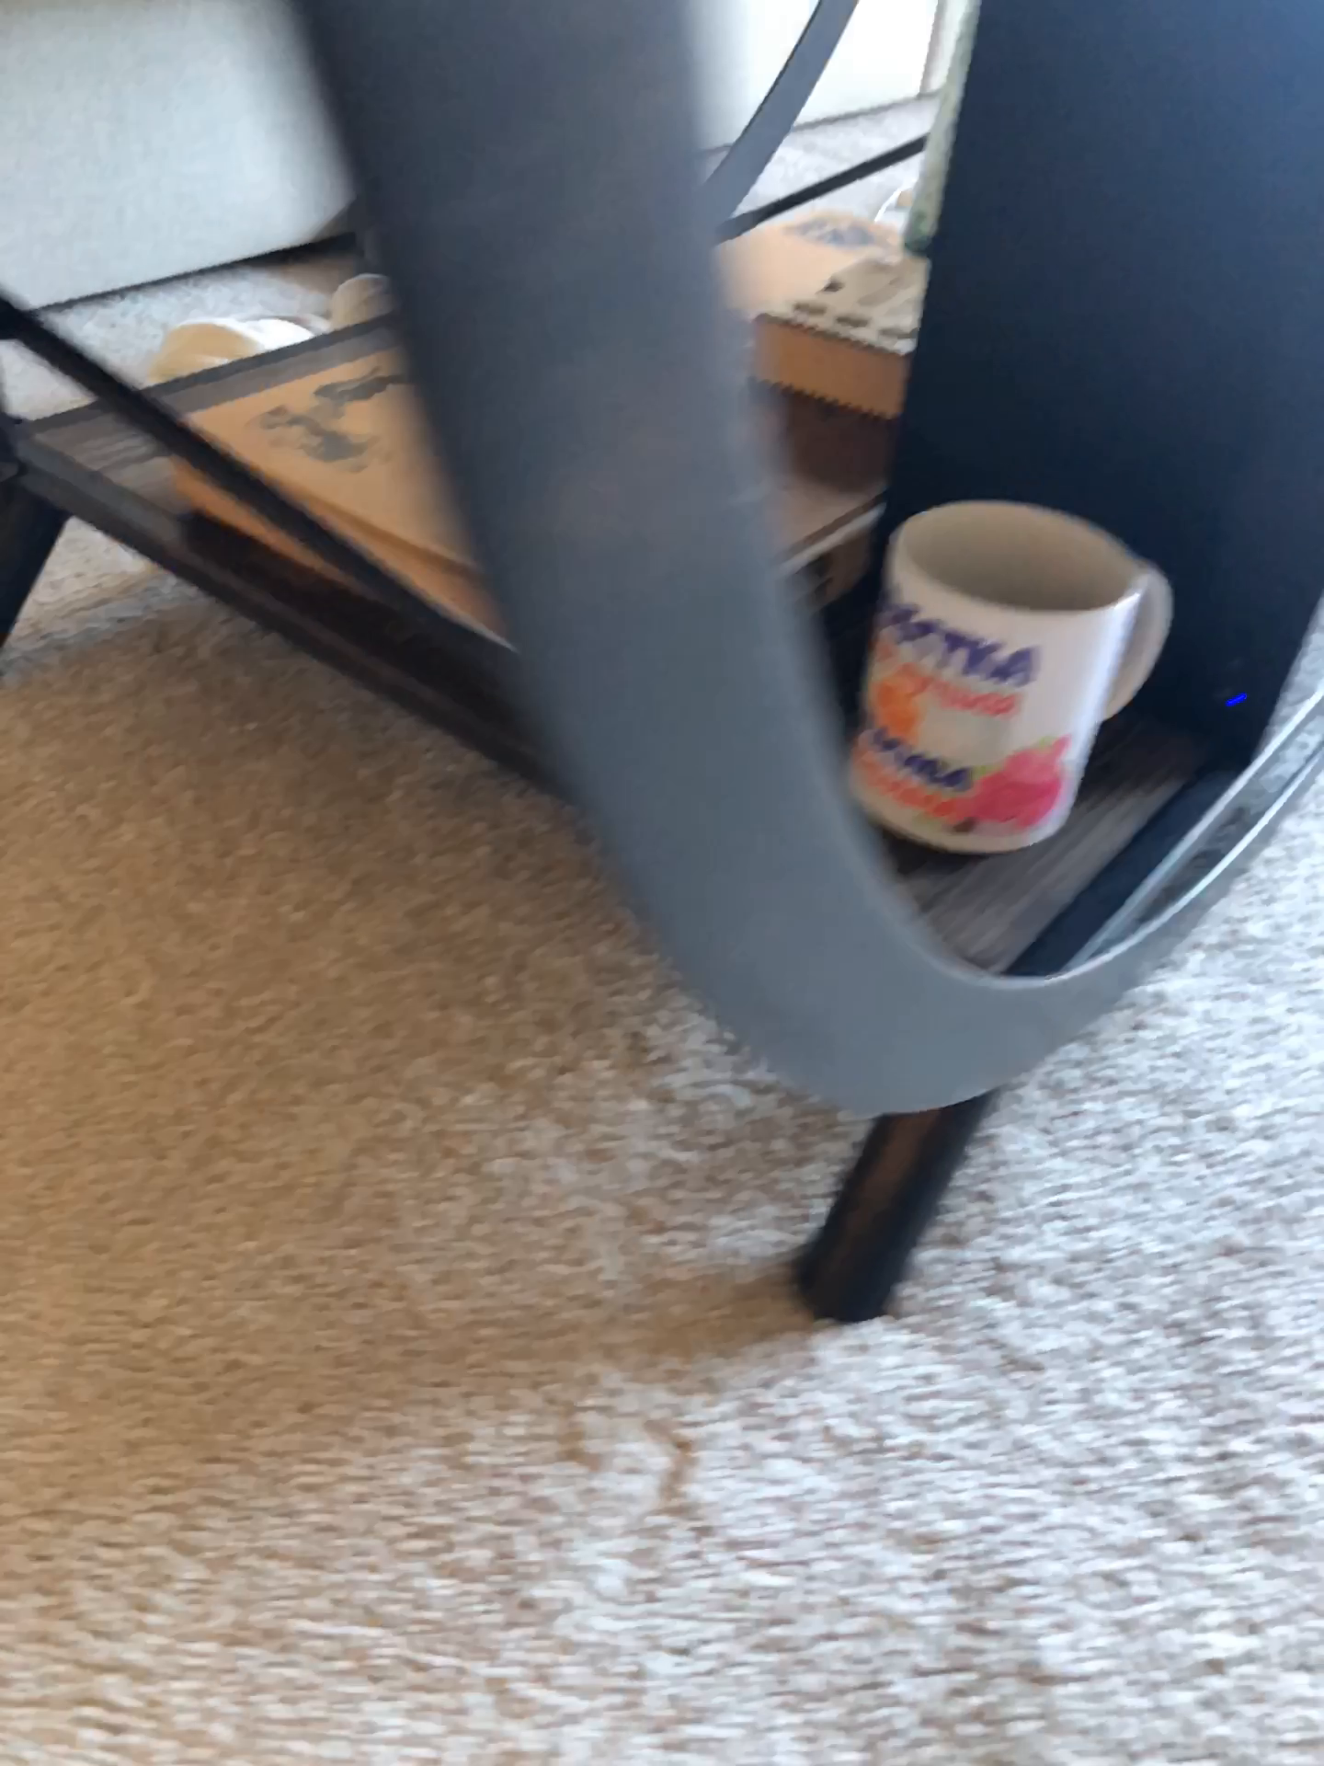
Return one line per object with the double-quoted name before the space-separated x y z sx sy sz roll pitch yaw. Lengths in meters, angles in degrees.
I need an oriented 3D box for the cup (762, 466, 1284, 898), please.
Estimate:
"cup" 0.126 -0.077 0.534 0.140 0.099 0.090 -15 44 -24
